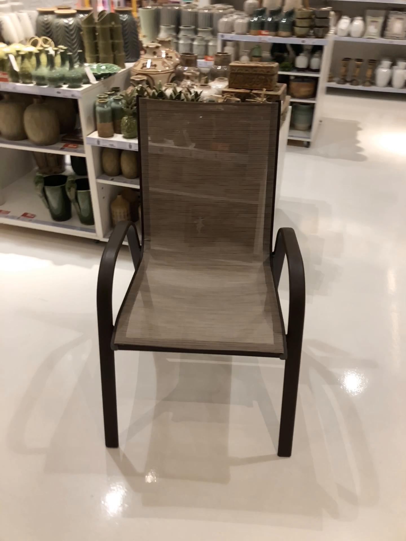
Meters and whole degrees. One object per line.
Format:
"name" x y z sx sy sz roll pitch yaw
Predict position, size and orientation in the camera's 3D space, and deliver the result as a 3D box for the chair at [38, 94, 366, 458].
"chair" 0.007 -0.015 1.326 0.600 0.794 0.706 2 34 2
